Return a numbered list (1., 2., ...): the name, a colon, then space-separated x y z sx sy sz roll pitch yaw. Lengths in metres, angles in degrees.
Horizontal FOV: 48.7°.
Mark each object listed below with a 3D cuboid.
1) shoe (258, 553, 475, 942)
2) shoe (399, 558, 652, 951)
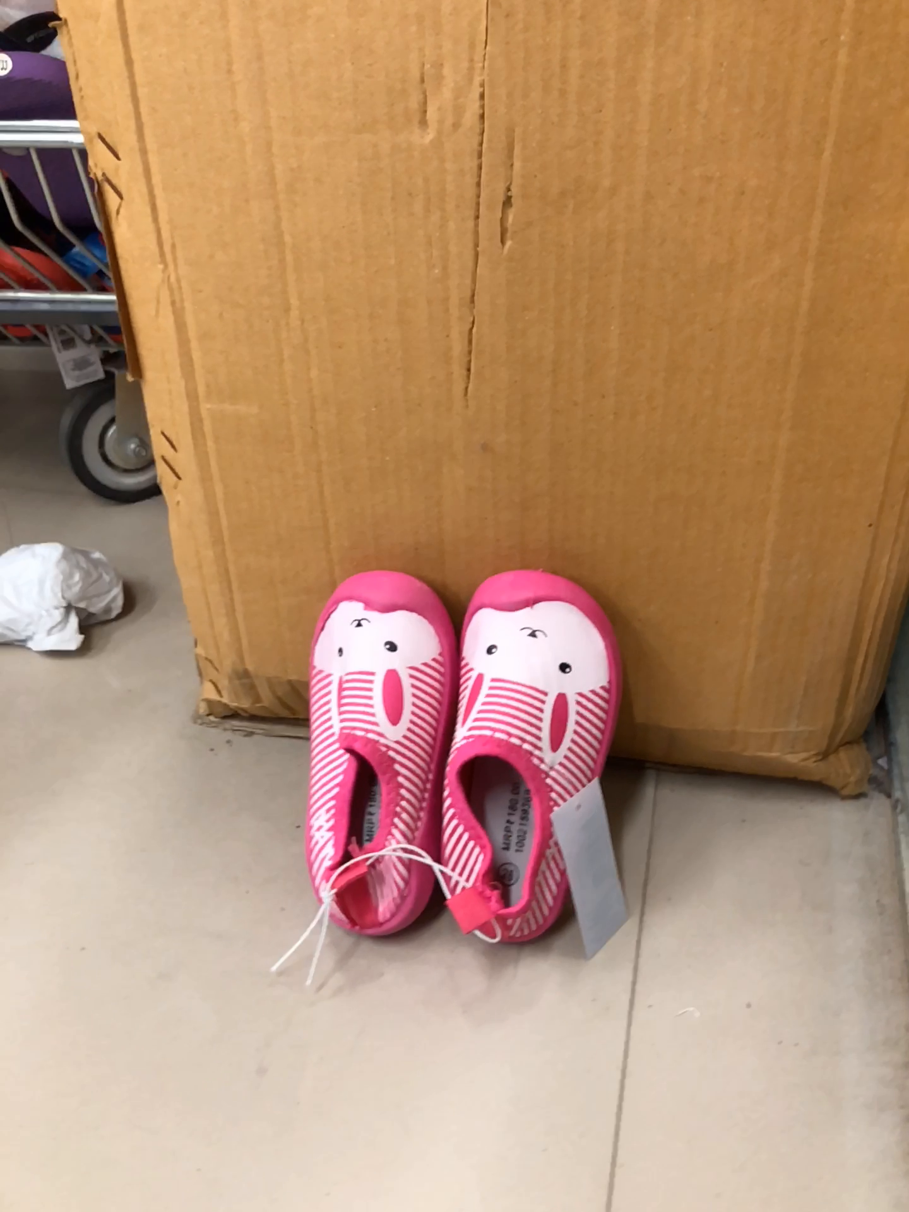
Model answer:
1. shoe: -0.033 0.064 0.448 0.069 0.082 0.157 0 74 9
2. shoe: 0.036 0.065 0.439 0.069 0.082 0.148 6 76 20
